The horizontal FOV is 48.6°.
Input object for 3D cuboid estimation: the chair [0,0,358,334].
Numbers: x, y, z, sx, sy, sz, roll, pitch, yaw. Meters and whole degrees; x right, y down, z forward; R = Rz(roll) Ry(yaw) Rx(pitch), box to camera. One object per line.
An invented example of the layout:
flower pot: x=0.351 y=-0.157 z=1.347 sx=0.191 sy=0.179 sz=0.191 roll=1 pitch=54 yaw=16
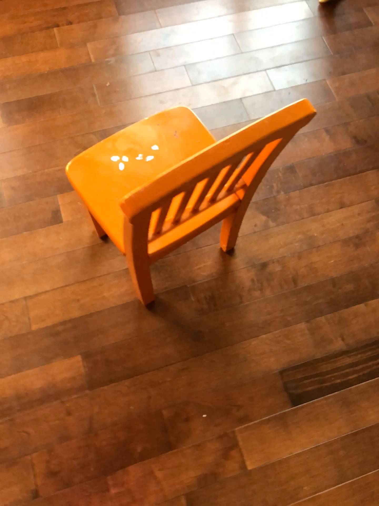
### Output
chair: x=-0.044 y=-0.148 z=0.808 sx=0.360 sy=0.569 sz=0.350 roll=-31 pitch=72 yaw=-14
